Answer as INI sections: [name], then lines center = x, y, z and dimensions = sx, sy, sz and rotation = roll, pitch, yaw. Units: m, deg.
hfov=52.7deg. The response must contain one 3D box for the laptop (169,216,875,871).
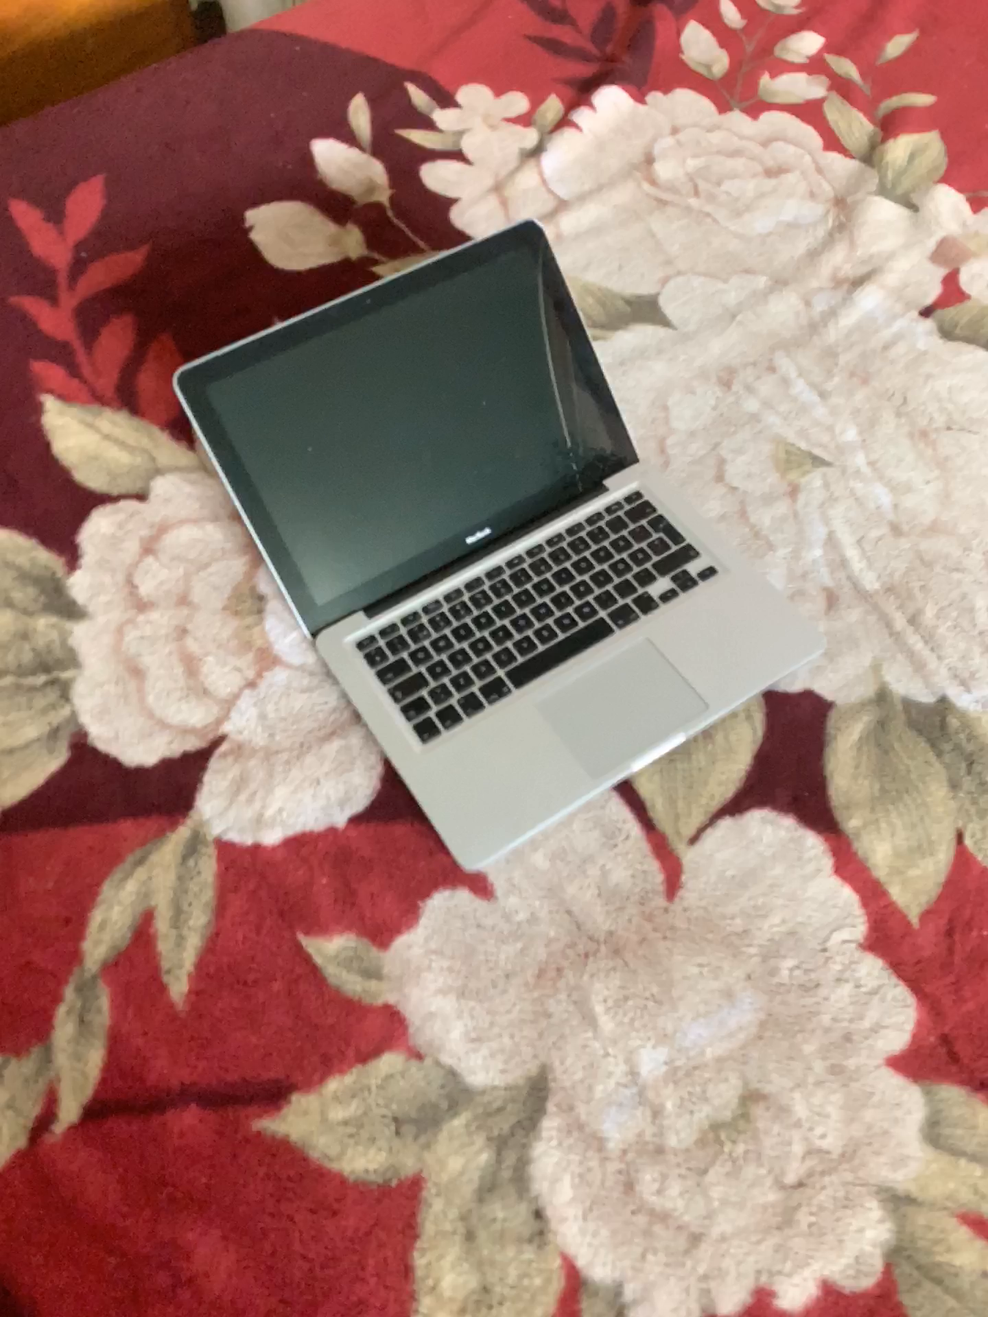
[laptop]
center = 0.008, -0.106, 0.730
dimensions = 0.317, 0.116, 0.388
rotation = -30, 66, -15
